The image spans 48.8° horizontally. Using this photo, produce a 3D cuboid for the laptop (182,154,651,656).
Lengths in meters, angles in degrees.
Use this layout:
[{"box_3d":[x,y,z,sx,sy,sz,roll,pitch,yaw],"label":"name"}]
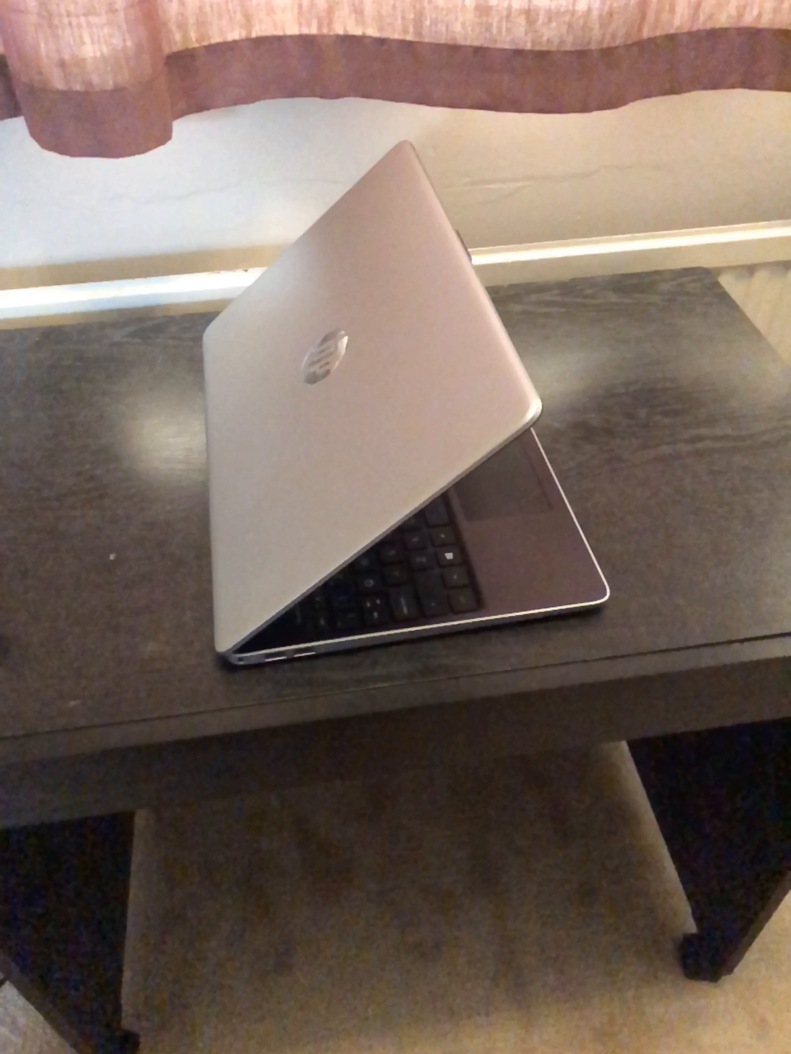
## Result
[{"box_3d":[-0.014,-0.115,0.607,0.236,0.141,0.363,-7,44,-9],"label":"laptop"}]
